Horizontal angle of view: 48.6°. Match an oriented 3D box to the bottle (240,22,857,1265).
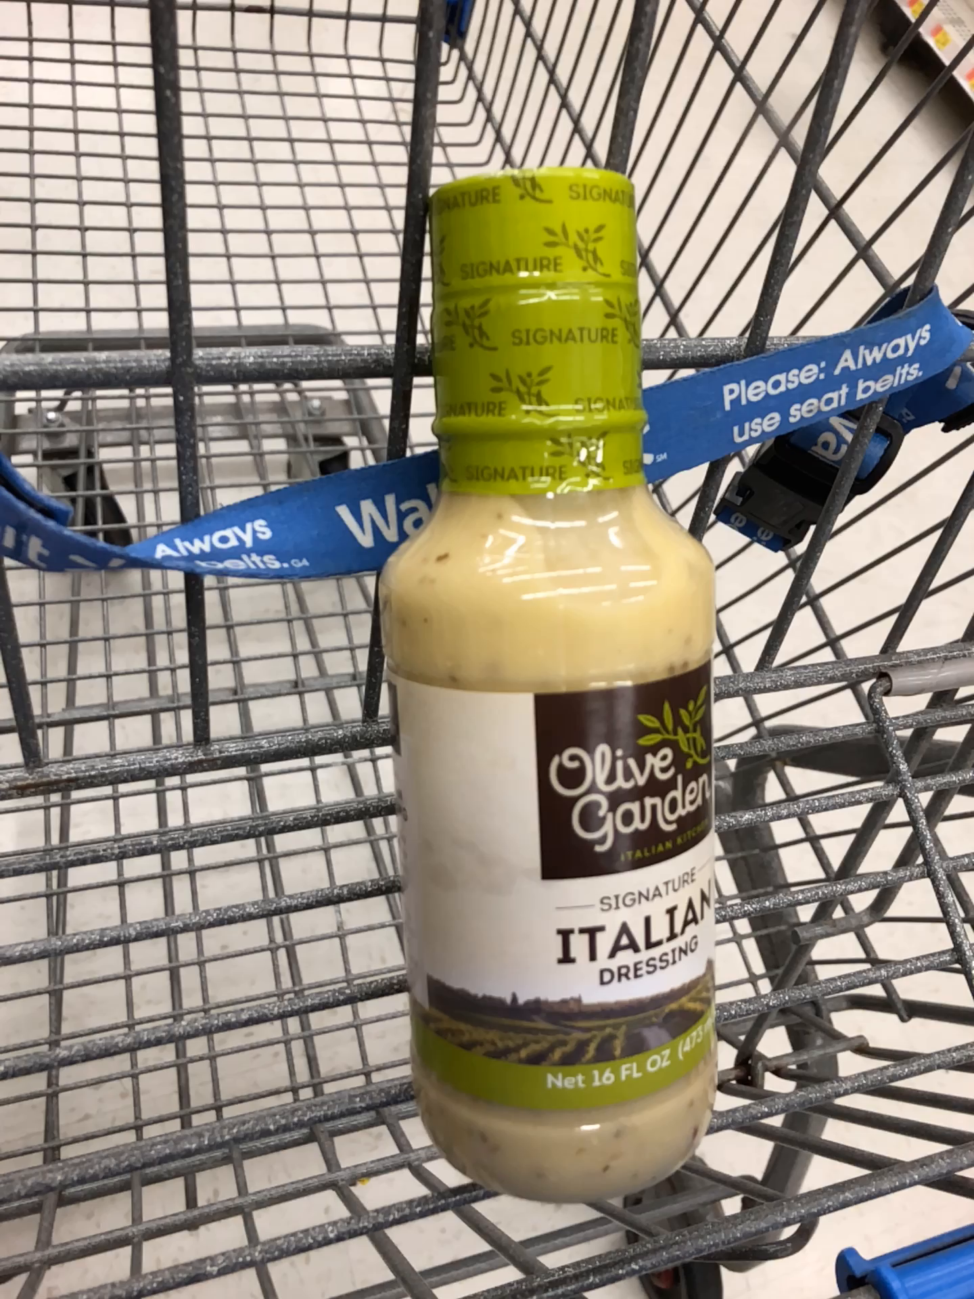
[{"bbox_3d":[0.014,-0.002,0.231,0.080,0.070,0.210,-11,96,-34],"label":"bottle"}]
